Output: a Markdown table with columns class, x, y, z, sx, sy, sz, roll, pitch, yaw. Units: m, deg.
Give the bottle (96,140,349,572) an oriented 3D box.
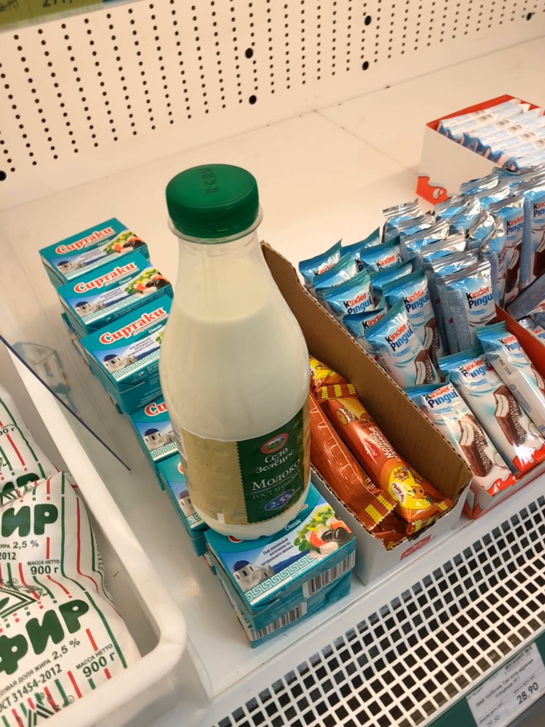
| class | x | y | z | sx | sy | sz | roll | pitch | yaw |
| --- | --- | --- | --- | --- | --- | --- | --- | --- | --- |
| bottle | -0.020 | 0.013 | 0.346 | 0.081 | 0.238 | 0.085 | -2 | 46 | 2 |
